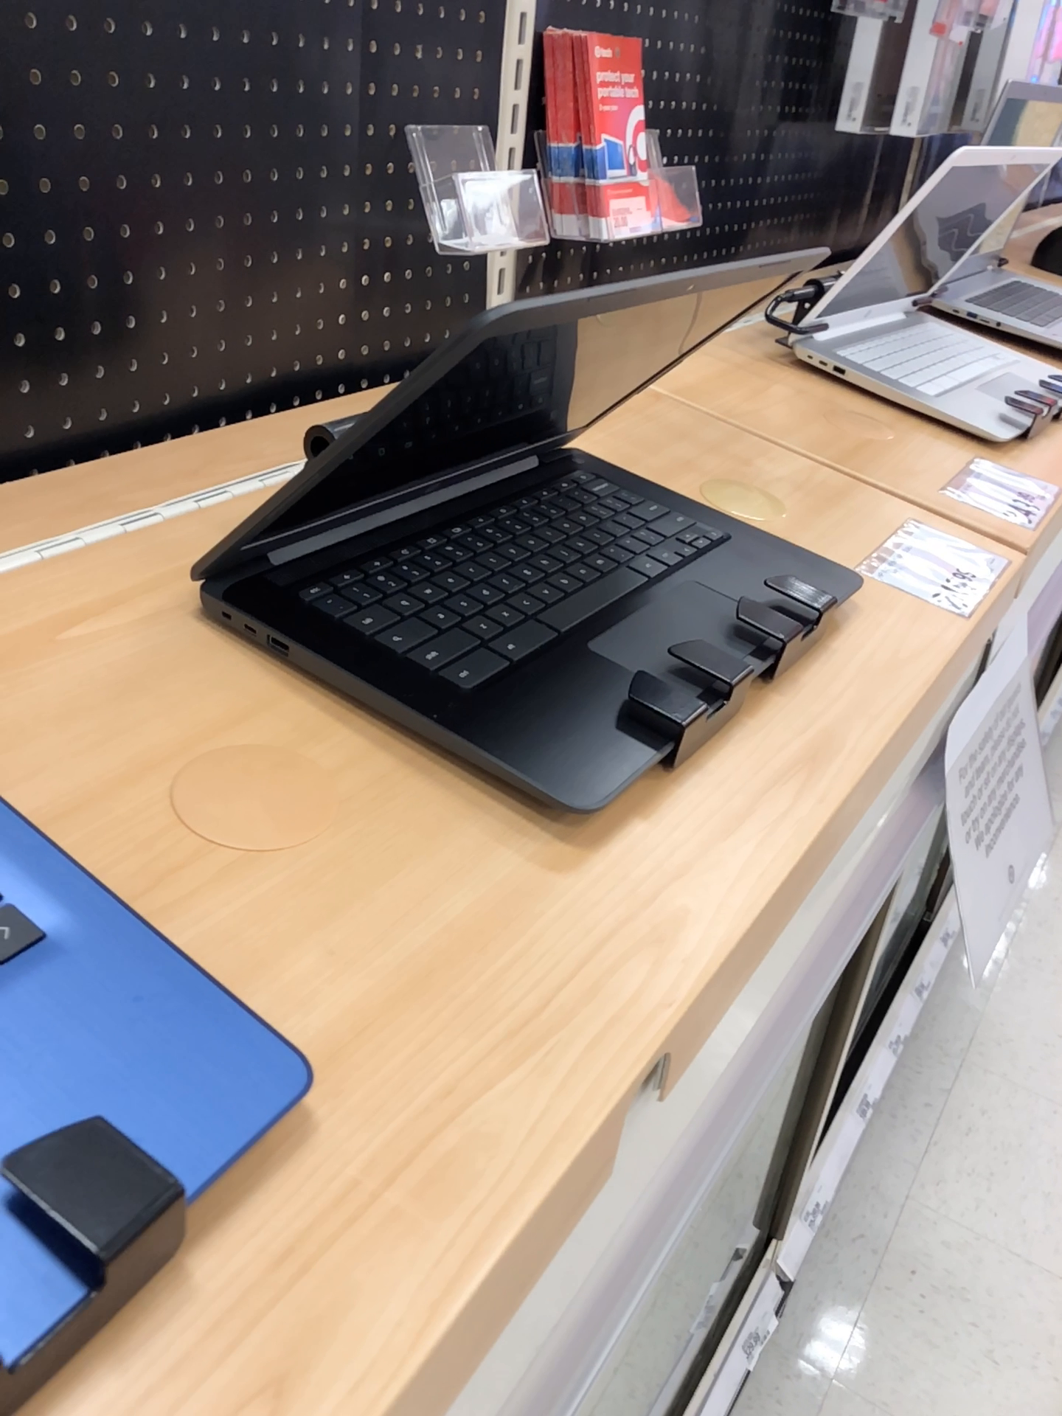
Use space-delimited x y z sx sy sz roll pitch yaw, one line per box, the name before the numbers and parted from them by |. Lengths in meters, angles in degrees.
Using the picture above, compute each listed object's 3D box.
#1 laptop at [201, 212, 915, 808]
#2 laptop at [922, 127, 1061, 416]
laptop | 0.032 -0.128 0.569 0.200 0.144 0.320 26 34 22
laptop | 0.614 -0.597 1.495 0.221 0.133 0.833 17 35 -7
